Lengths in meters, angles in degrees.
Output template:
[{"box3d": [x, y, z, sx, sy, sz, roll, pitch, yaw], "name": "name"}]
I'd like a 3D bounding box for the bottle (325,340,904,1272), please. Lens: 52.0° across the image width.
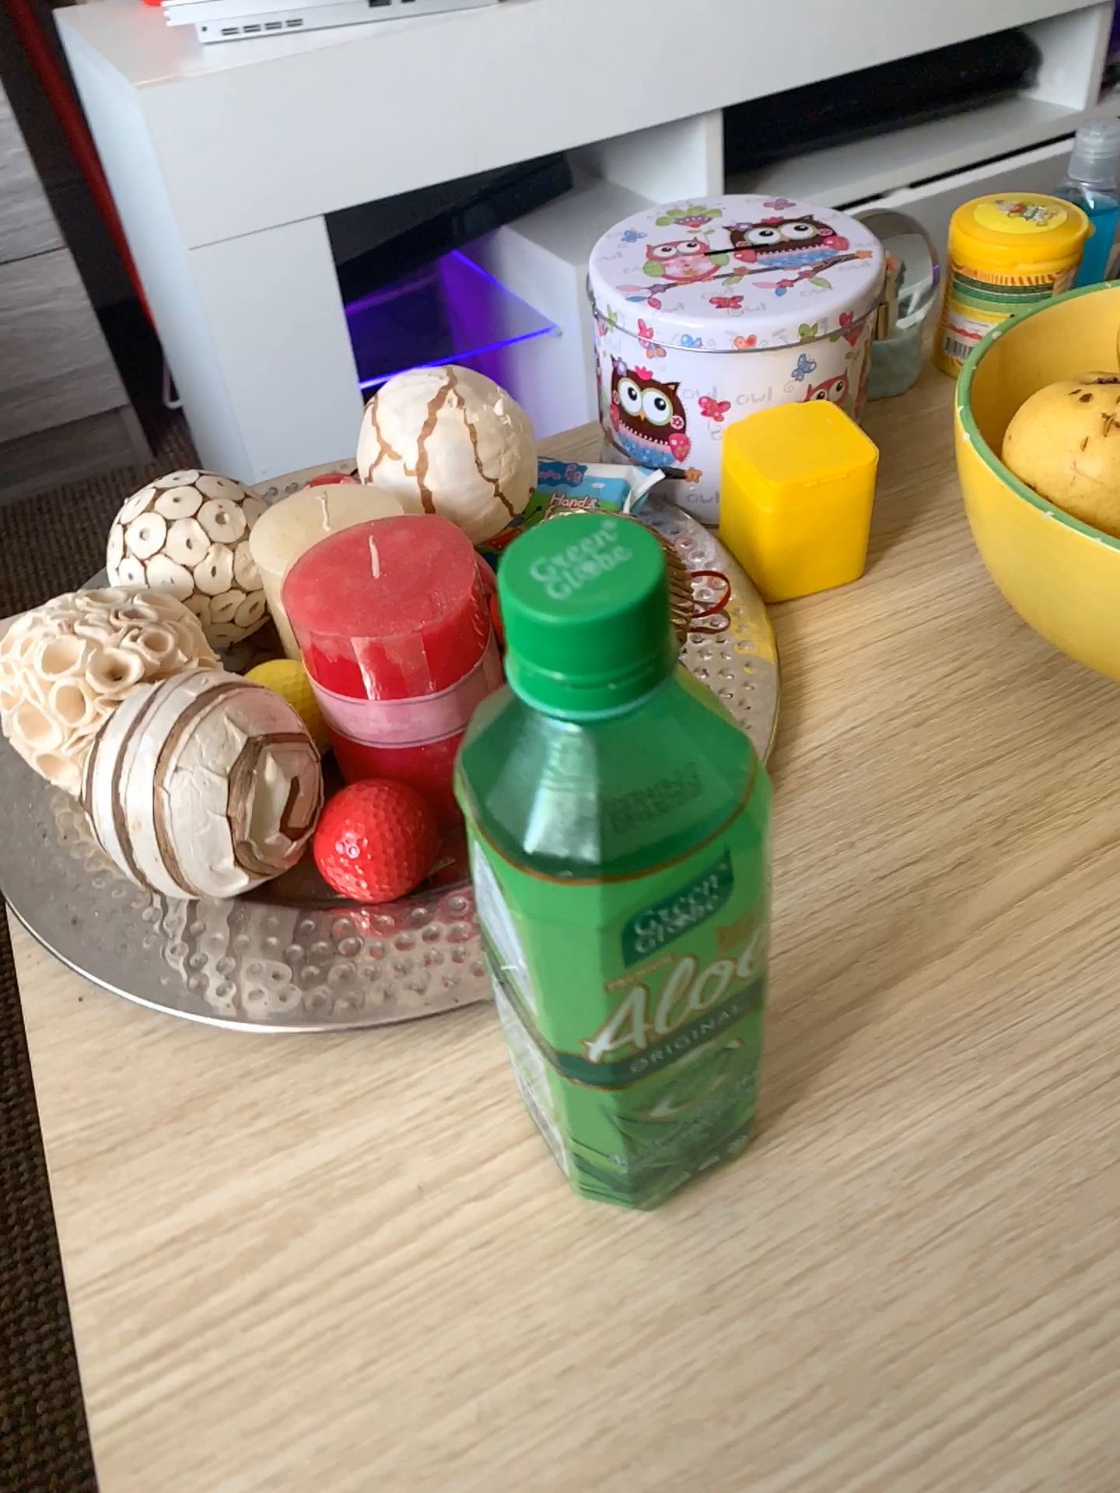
[{"box3d": [0.016, 0.032, 0.268, 0.070, 0.218, 0.071, -4, 45, 4], "name": "bottle"}]
